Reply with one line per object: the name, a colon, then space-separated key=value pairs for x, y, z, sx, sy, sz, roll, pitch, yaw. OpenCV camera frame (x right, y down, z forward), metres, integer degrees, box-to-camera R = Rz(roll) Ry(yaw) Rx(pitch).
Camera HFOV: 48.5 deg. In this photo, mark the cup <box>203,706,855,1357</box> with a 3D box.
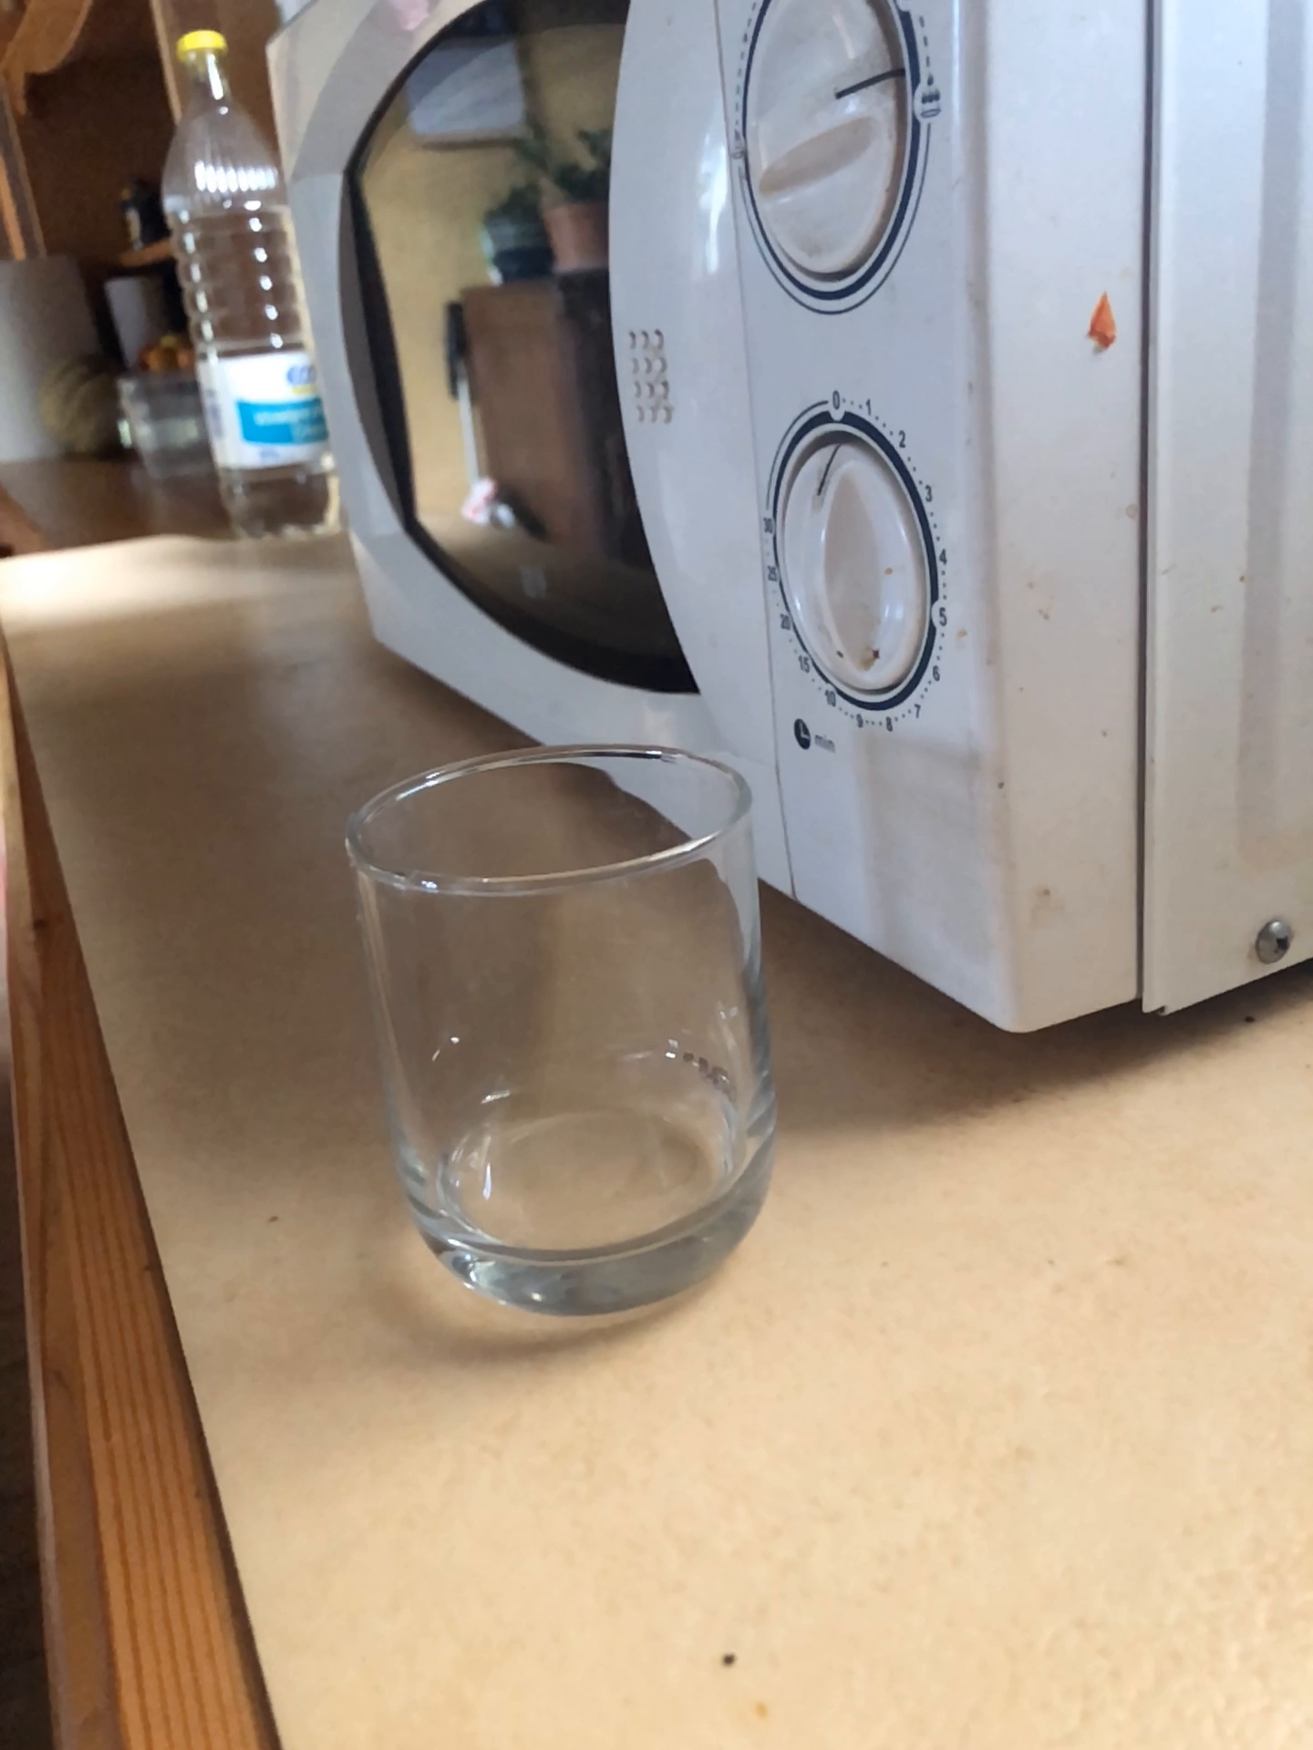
cup: x=-0.017 y=0.018 z=0.240 sx=0.070 sy=0.070 sz=0.070 roll=-5 pitch=22 yaw=2
